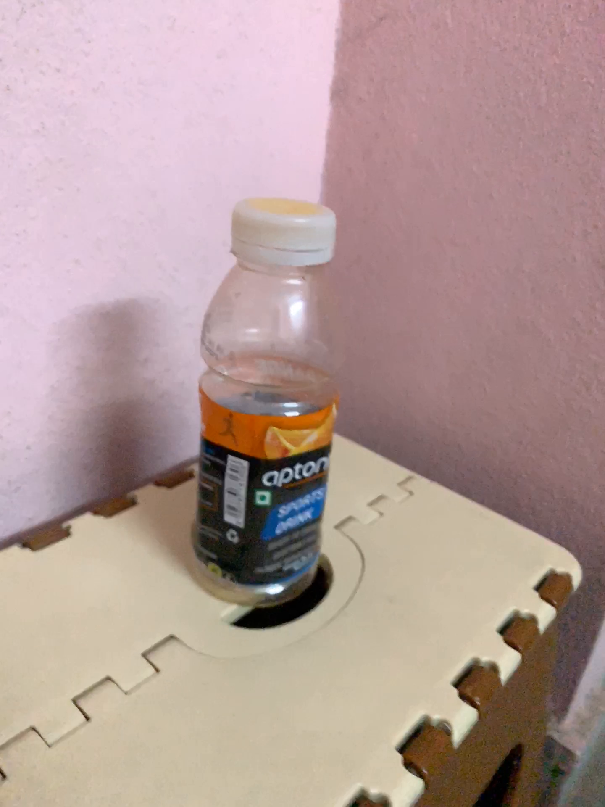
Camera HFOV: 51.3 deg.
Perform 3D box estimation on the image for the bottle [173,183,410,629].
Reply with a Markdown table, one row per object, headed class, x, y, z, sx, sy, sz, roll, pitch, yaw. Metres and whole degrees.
| class | x | y | z | sx | sy | sz | roll | pitch | yaw |
| --- | --- | --- | --- | --- | --- | --- | --- | --- | --- |
| bottle | -0.011 | 0.000 | 0.284 | 0.060 | 0.179 | 0.070 | 28 | 34 | 37 |
